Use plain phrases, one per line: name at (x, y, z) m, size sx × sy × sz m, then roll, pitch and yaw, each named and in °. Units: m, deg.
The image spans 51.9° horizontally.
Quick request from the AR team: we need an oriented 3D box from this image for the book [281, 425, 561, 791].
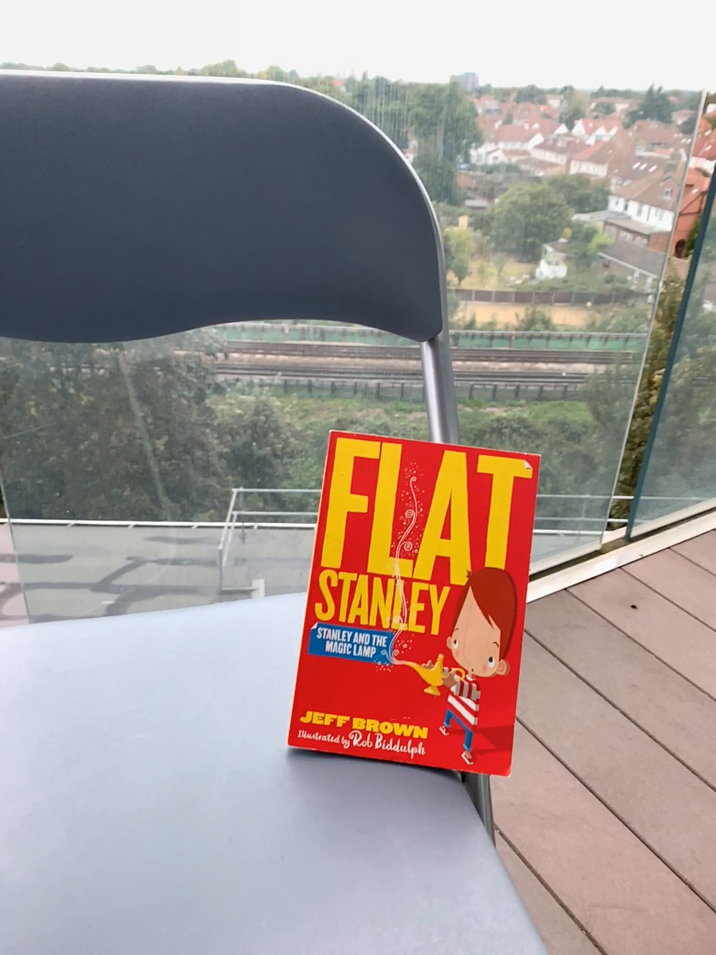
book at (0.038, 0.071, 0.432) m, size 0.140 × 0.191 × 0.020 m, roll 6°, pitch -7°, yaw 7°
